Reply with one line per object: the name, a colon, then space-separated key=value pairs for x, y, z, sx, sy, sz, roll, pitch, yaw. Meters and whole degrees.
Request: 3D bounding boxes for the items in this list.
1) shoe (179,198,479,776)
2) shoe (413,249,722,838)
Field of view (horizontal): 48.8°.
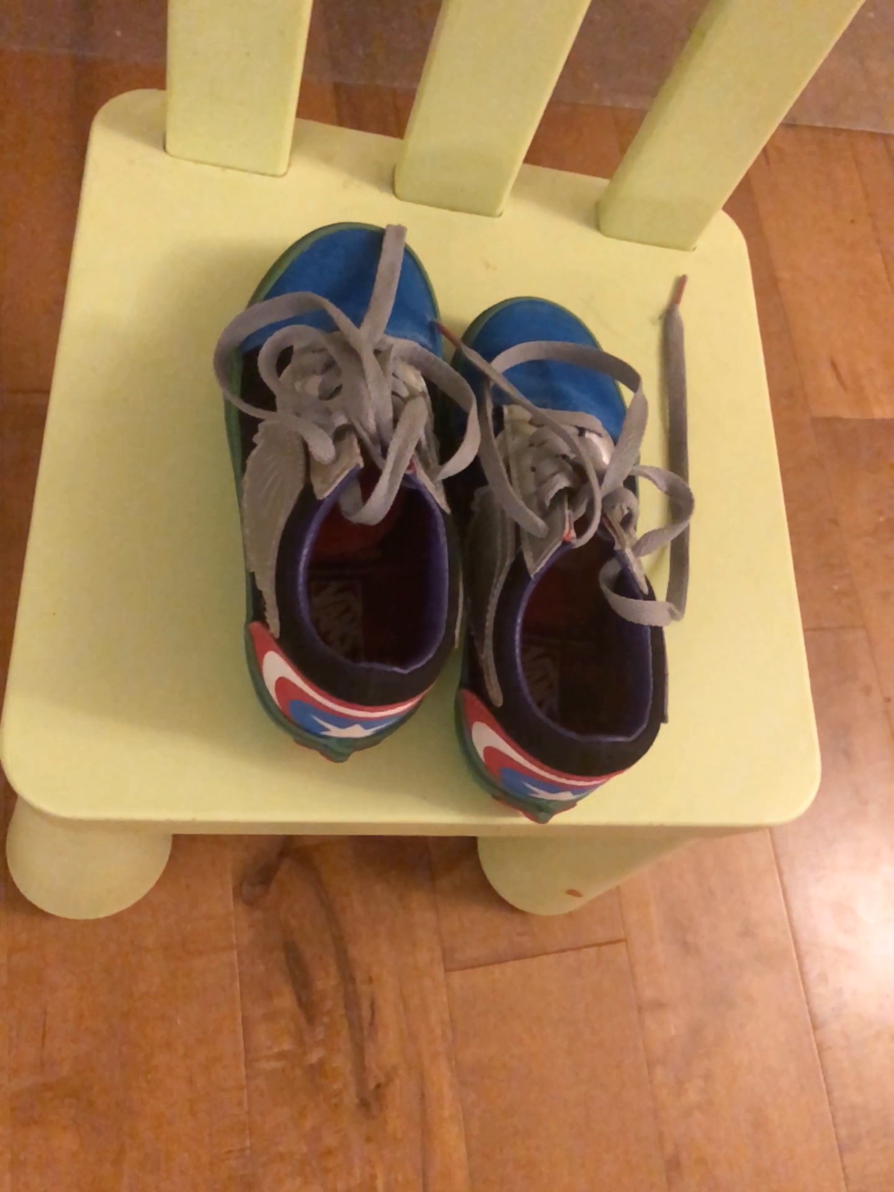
shoe: x=-0.043 y=-0.036 z=0.370 sx=0.090 sy=0.080 sz=0.190 roll=6 pitch=71 yaw=-14
shoe: x=0.038 y=-0.016 z=0.352 sx=0.080 sy=0.070 sz=0.190 roll=6 pitch=71 yaw=-14
